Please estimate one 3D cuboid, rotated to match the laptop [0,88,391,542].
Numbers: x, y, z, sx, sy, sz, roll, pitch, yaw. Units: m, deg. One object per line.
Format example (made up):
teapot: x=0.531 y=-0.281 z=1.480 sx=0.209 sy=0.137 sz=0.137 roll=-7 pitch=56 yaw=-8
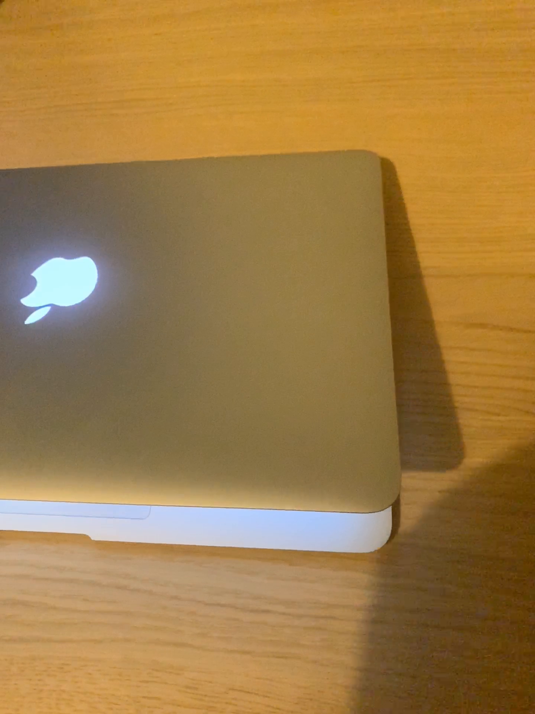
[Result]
laptop: x=-0.104 y=-0.030 z=0.286 sx=0.320 sy=0.048 sz=0.218 roll=0 pitch=63 yaw=9
